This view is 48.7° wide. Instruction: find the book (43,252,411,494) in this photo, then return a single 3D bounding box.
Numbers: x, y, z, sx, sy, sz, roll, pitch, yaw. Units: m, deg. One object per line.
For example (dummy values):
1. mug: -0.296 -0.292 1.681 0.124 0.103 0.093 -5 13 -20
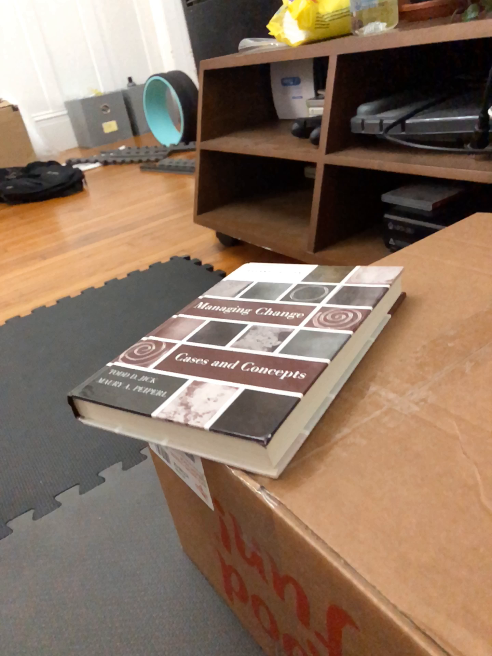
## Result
1. book: 0.001 0.006 0.426 0.180 0.030 0.251 7 33 32
